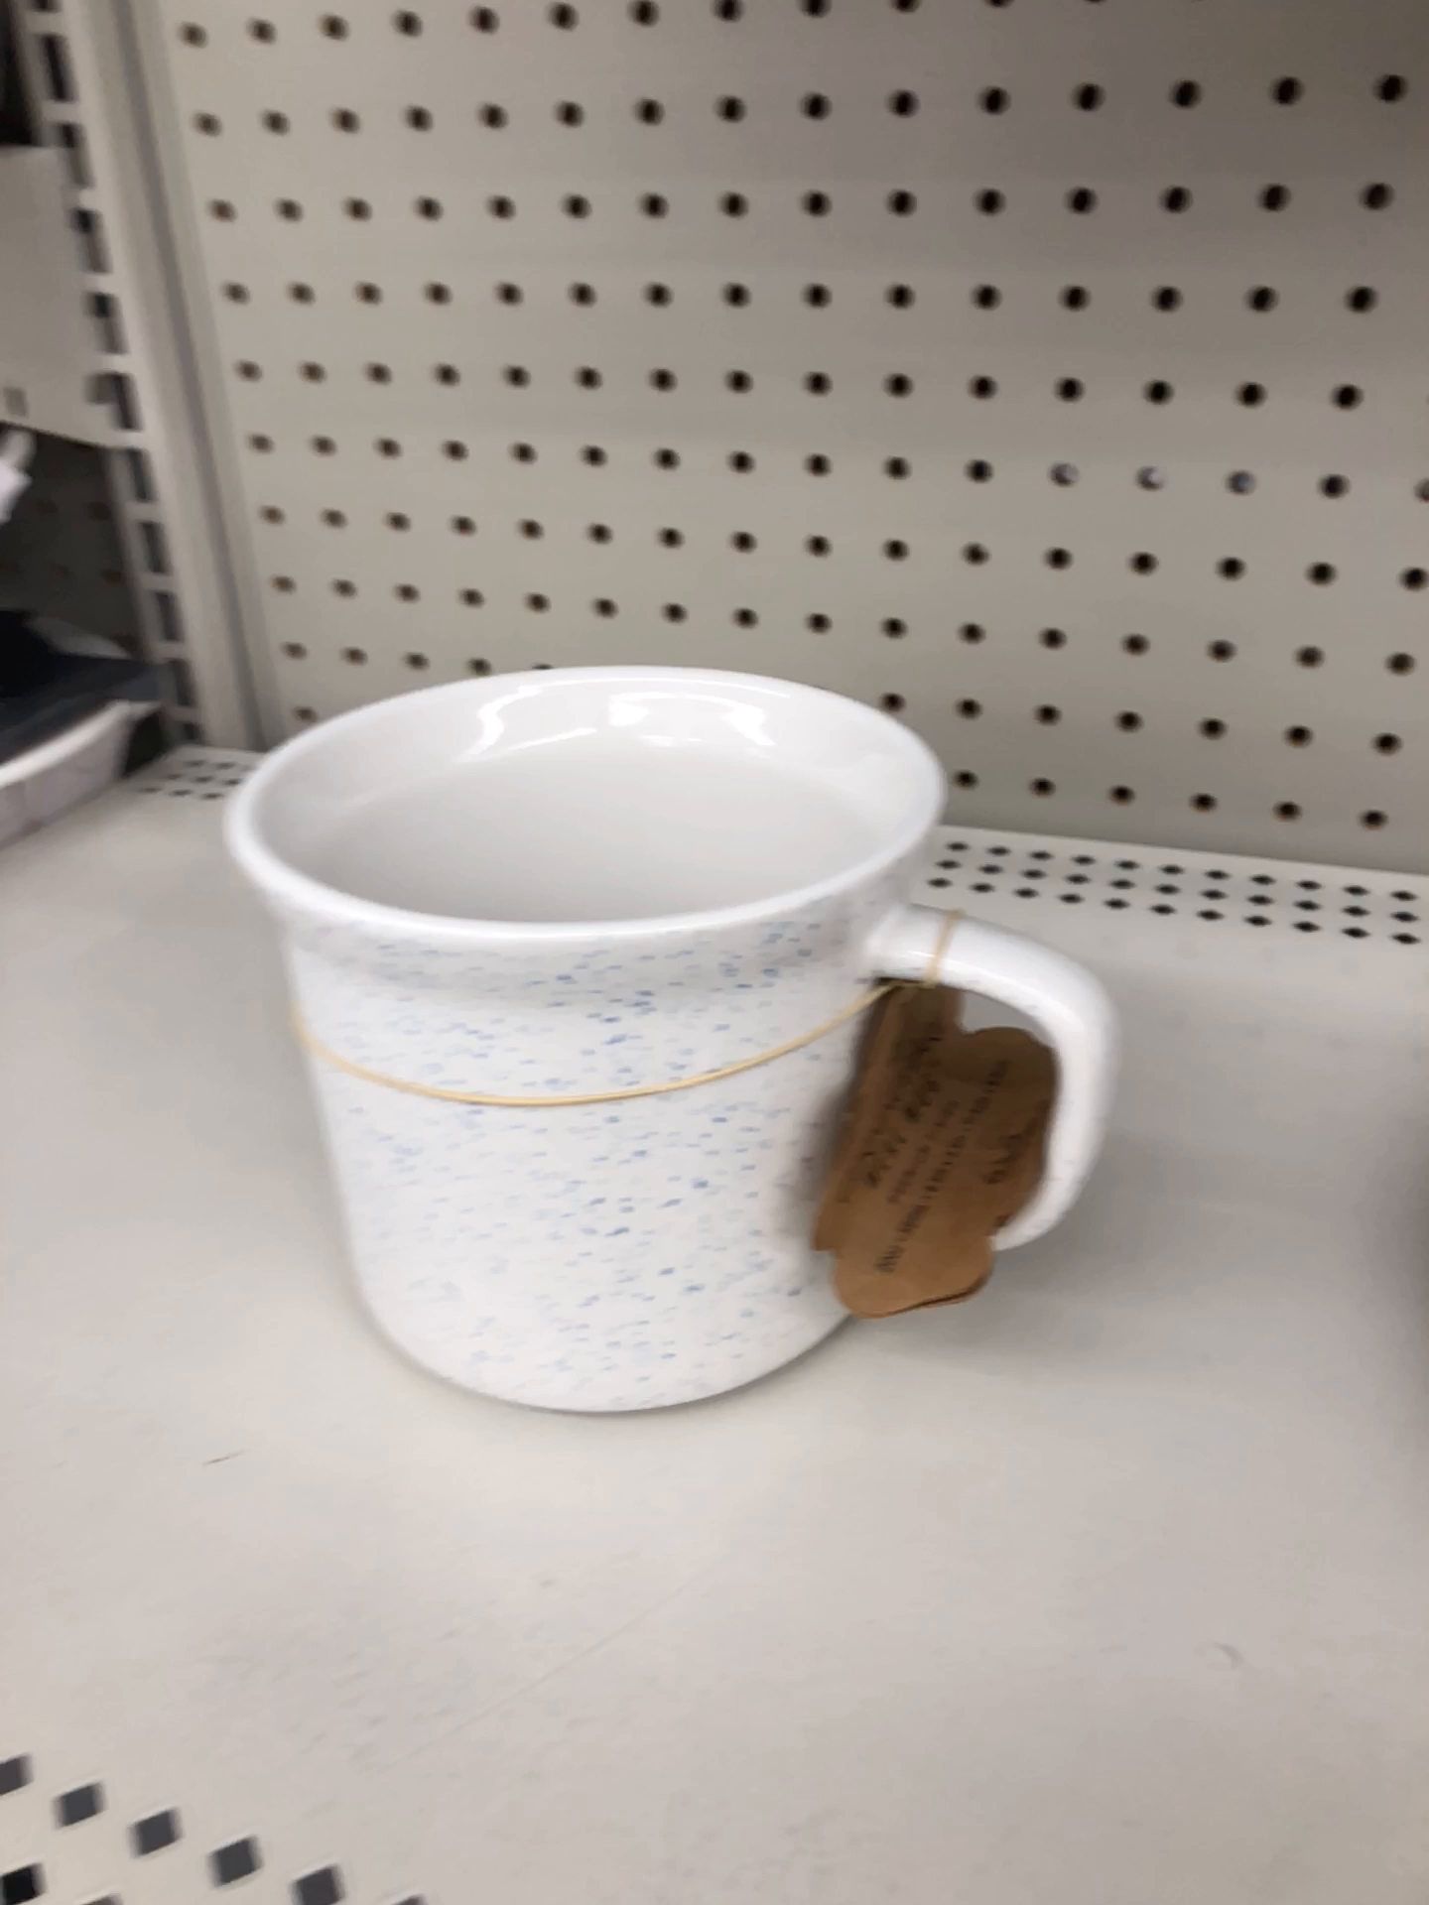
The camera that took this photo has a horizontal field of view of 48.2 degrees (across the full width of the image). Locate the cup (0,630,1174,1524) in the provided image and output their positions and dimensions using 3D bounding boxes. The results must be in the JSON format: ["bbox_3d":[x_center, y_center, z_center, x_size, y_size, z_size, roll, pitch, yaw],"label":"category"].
[{"bbox_3d":[-0.011,0.009,0.266,0.159,0.090,0.102,6,29,15],"label":"cup"}]
